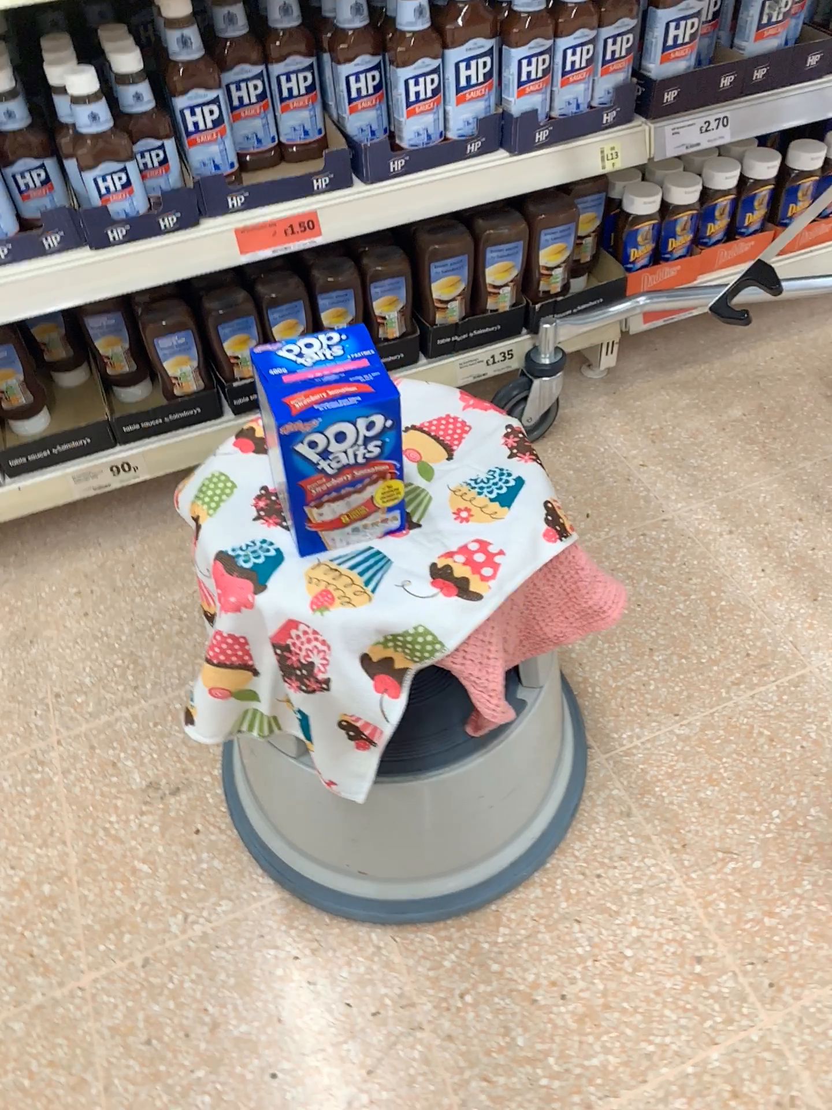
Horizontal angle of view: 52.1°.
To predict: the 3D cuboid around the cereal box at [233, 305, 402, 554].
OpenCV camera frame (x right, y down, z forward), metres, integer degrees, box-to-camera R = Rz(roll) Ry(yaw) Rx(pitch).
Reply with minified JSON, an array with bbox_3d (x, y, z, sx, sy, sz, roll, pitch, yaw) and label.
[{"bbox_3d":[-0.073,-0.094,0.649,0.090,0.139,0.101,-15,48,-10],"label":"cereal box"}]
